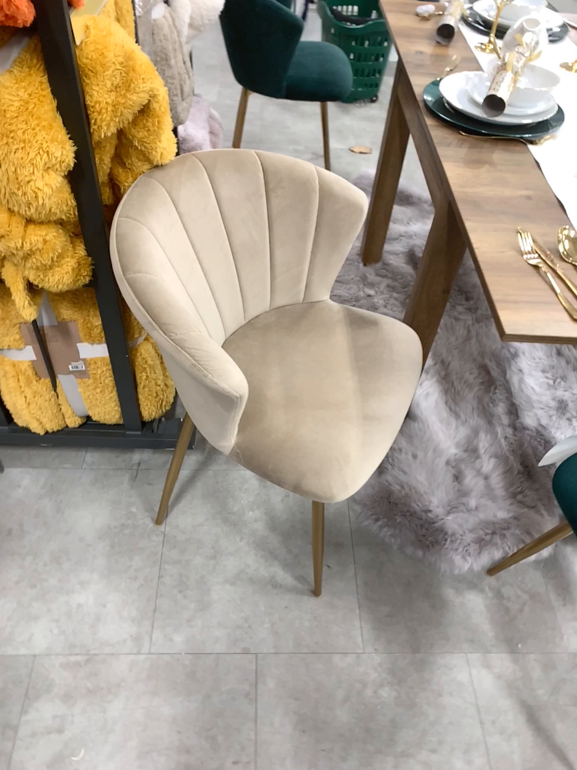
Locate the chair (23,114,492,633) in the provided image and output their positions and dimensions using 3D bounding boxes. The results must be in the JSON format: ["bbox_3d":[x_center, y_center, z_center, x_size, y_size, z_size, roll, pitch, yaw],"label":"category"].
[{"bbox_3d":[-0.029,-0.013,1.187,0.536,0.722,0.564,22,49,14],"label":"chair"}]
